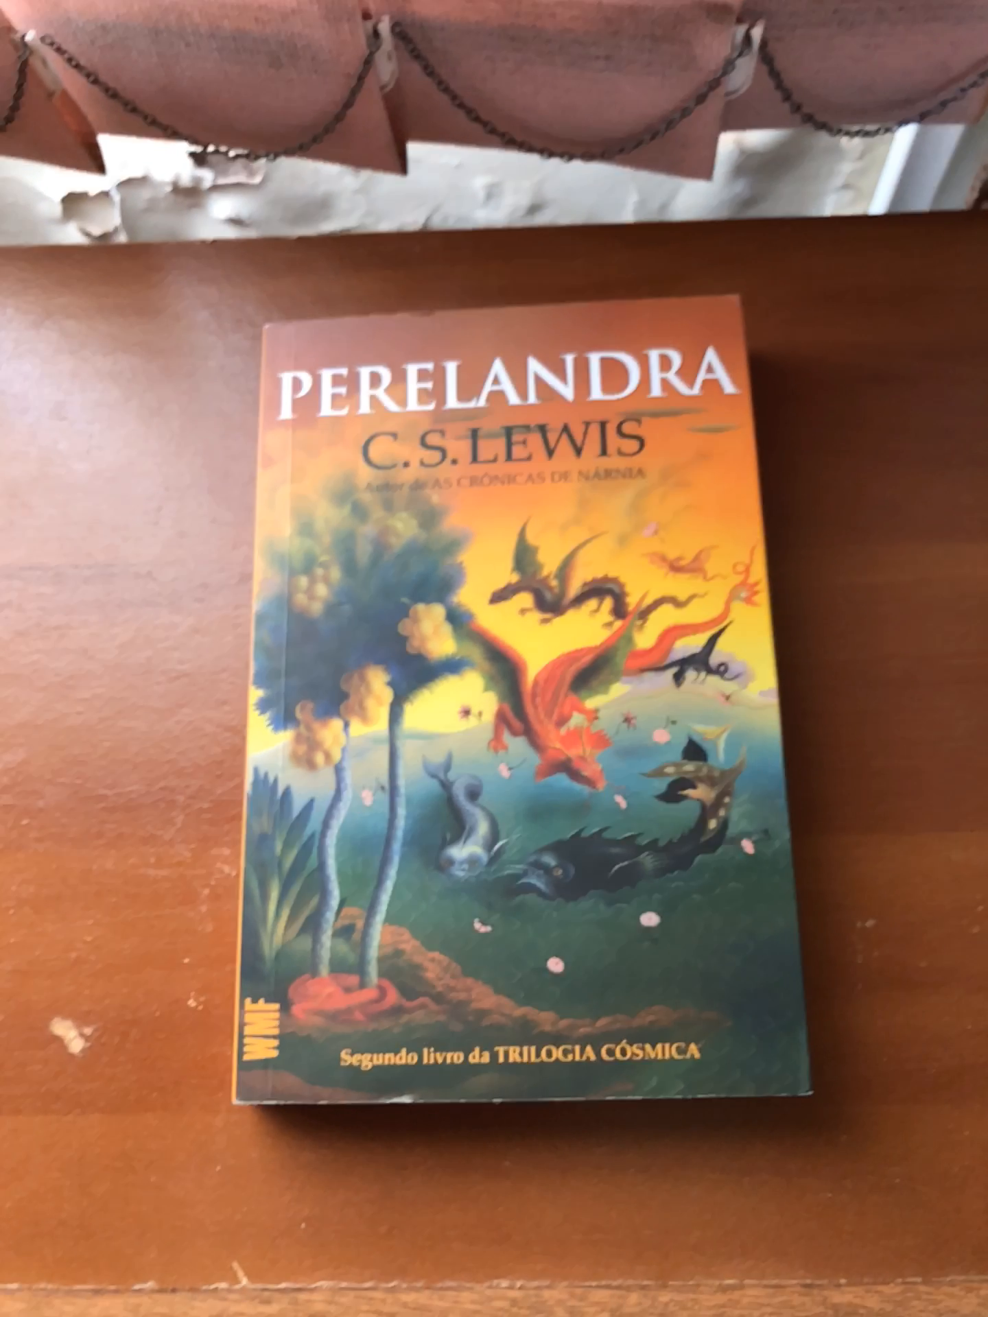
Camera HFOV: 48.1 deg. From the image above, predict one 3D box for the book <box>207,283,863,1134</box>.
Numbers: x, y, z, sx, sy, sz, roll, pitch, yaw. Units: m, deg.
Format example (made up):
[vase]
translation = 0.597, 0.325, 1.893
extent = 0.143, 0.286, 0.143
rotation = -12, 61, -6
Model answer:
[book]
translation = 0.006, 0.006, 0.261
extent = 0.130, 0.030, 0.190
rotation = -3, 73, 4
